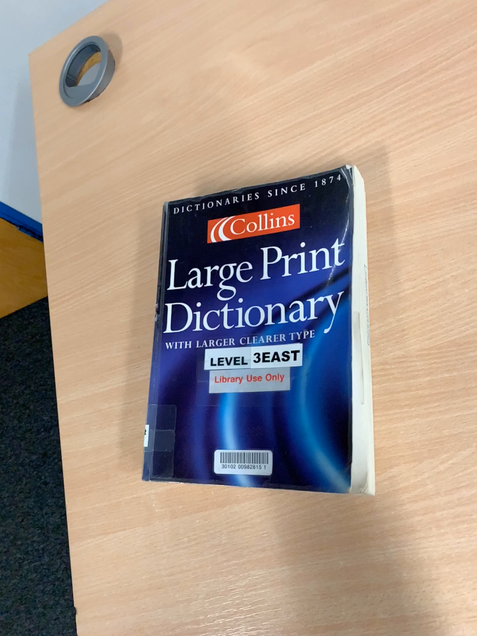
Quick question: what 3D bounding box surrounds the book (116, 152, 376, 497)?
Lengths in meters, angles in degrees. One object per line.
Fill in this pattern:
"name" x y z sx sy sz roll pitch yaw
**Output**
"book" 0.005 0.006 0.392 0.188 0.050 0.243 -5 73 24
